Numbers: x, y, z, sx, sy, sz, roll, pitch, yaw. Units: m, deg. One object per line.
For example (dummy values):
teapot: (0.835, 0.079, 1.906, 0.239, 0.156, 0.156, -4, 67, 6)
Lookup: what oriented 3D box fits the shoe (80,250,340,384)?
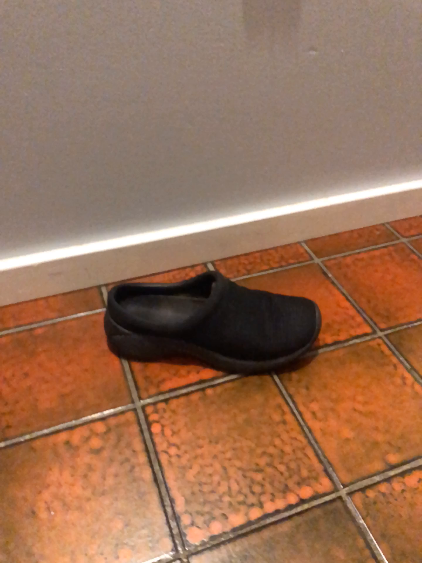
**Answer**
shoe: (0.000, 0.037, 0.515, 0.250, 0.080, 0.100, 4, 41, 2)
